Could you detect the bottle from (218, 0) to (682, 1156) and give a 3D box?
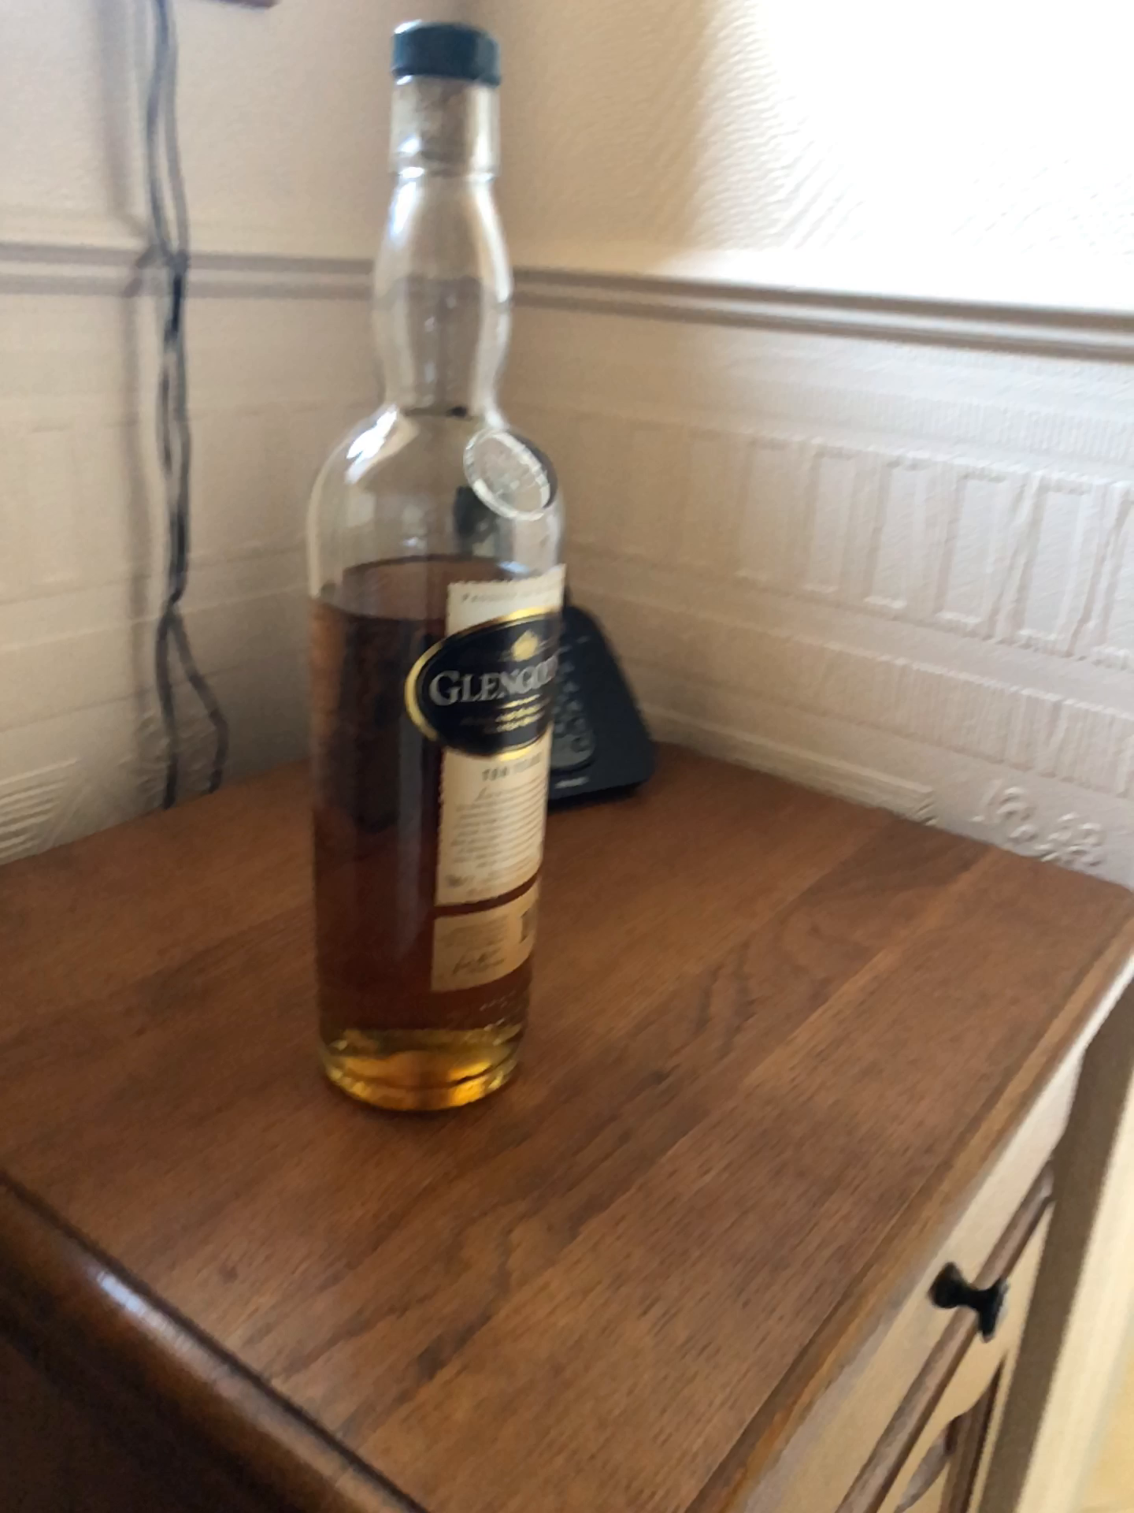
[{"bbox_3d":[-0.038,-0.048,0.383,0.080,0.318,0.091,20,26,36],"label":"bottle"}]
